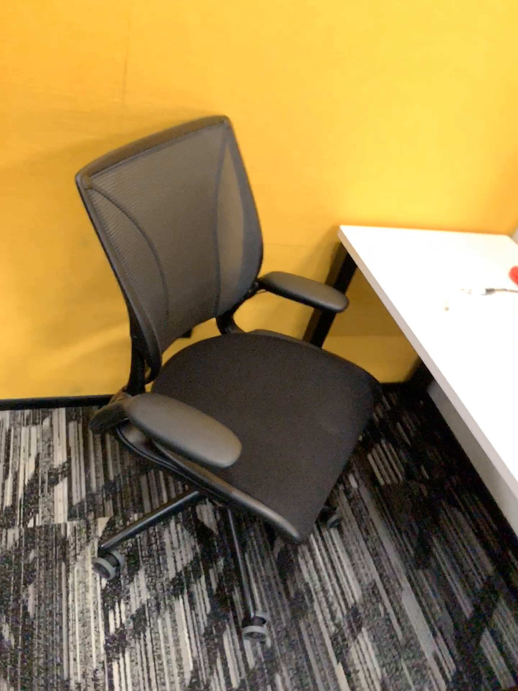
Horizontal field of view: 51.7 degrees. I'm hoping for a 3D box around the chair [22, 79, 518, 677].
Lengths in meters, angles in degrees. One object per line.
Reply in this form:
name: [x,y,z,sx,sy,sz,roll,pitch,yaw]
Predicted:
chair: [-0.001,0.066,1.011,0.570,0.813,0.544,27,41,10]
